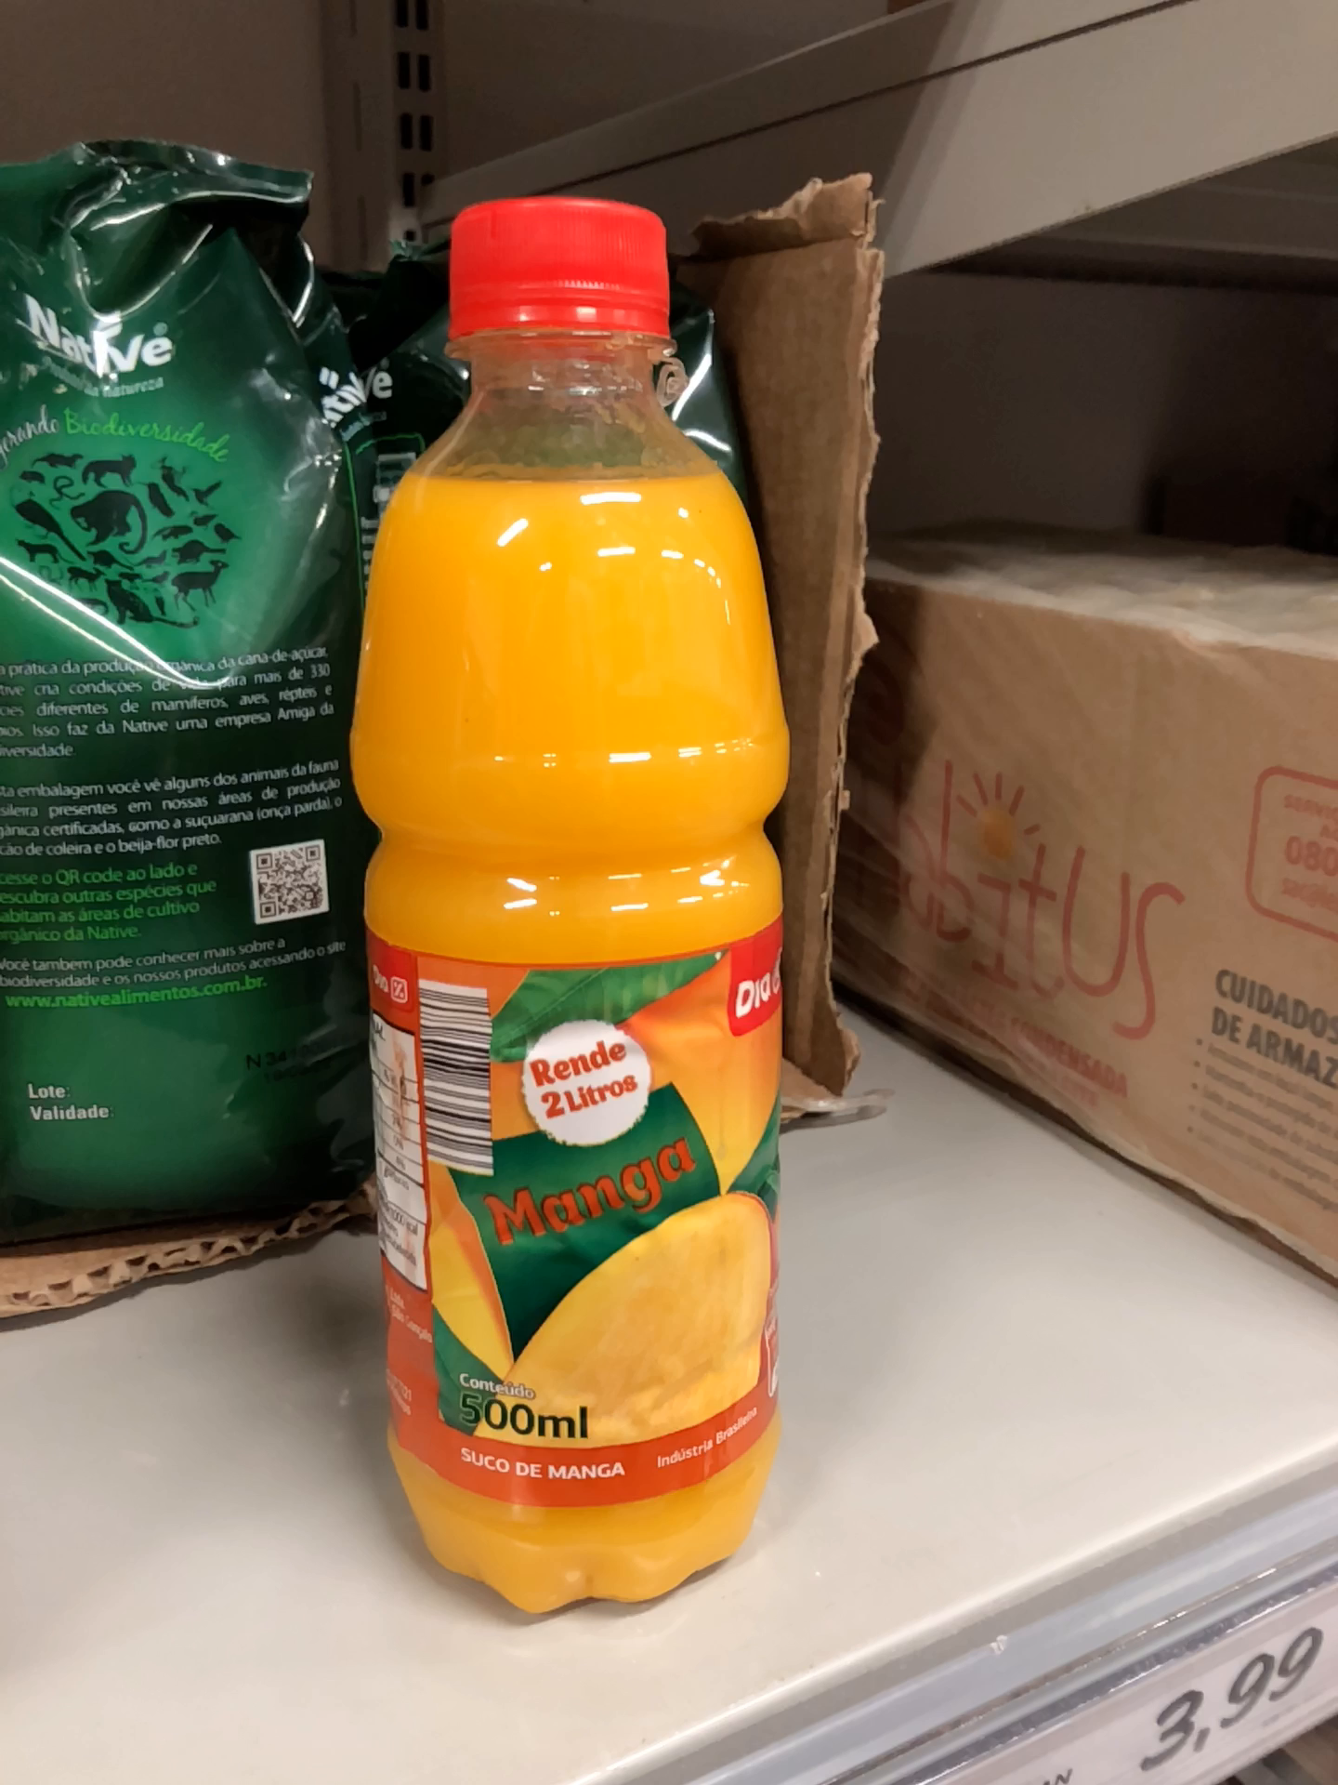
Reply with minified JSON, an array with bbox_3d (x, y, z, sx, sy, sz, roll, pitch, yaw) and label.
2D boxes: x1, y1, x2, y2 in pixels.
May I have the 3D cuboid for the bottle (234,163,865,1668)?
[{"bbox_3d":[-0.014,0.007,0.221,0.070,0.199,0.060,-2,16,-5],"label":"bottle"}]
